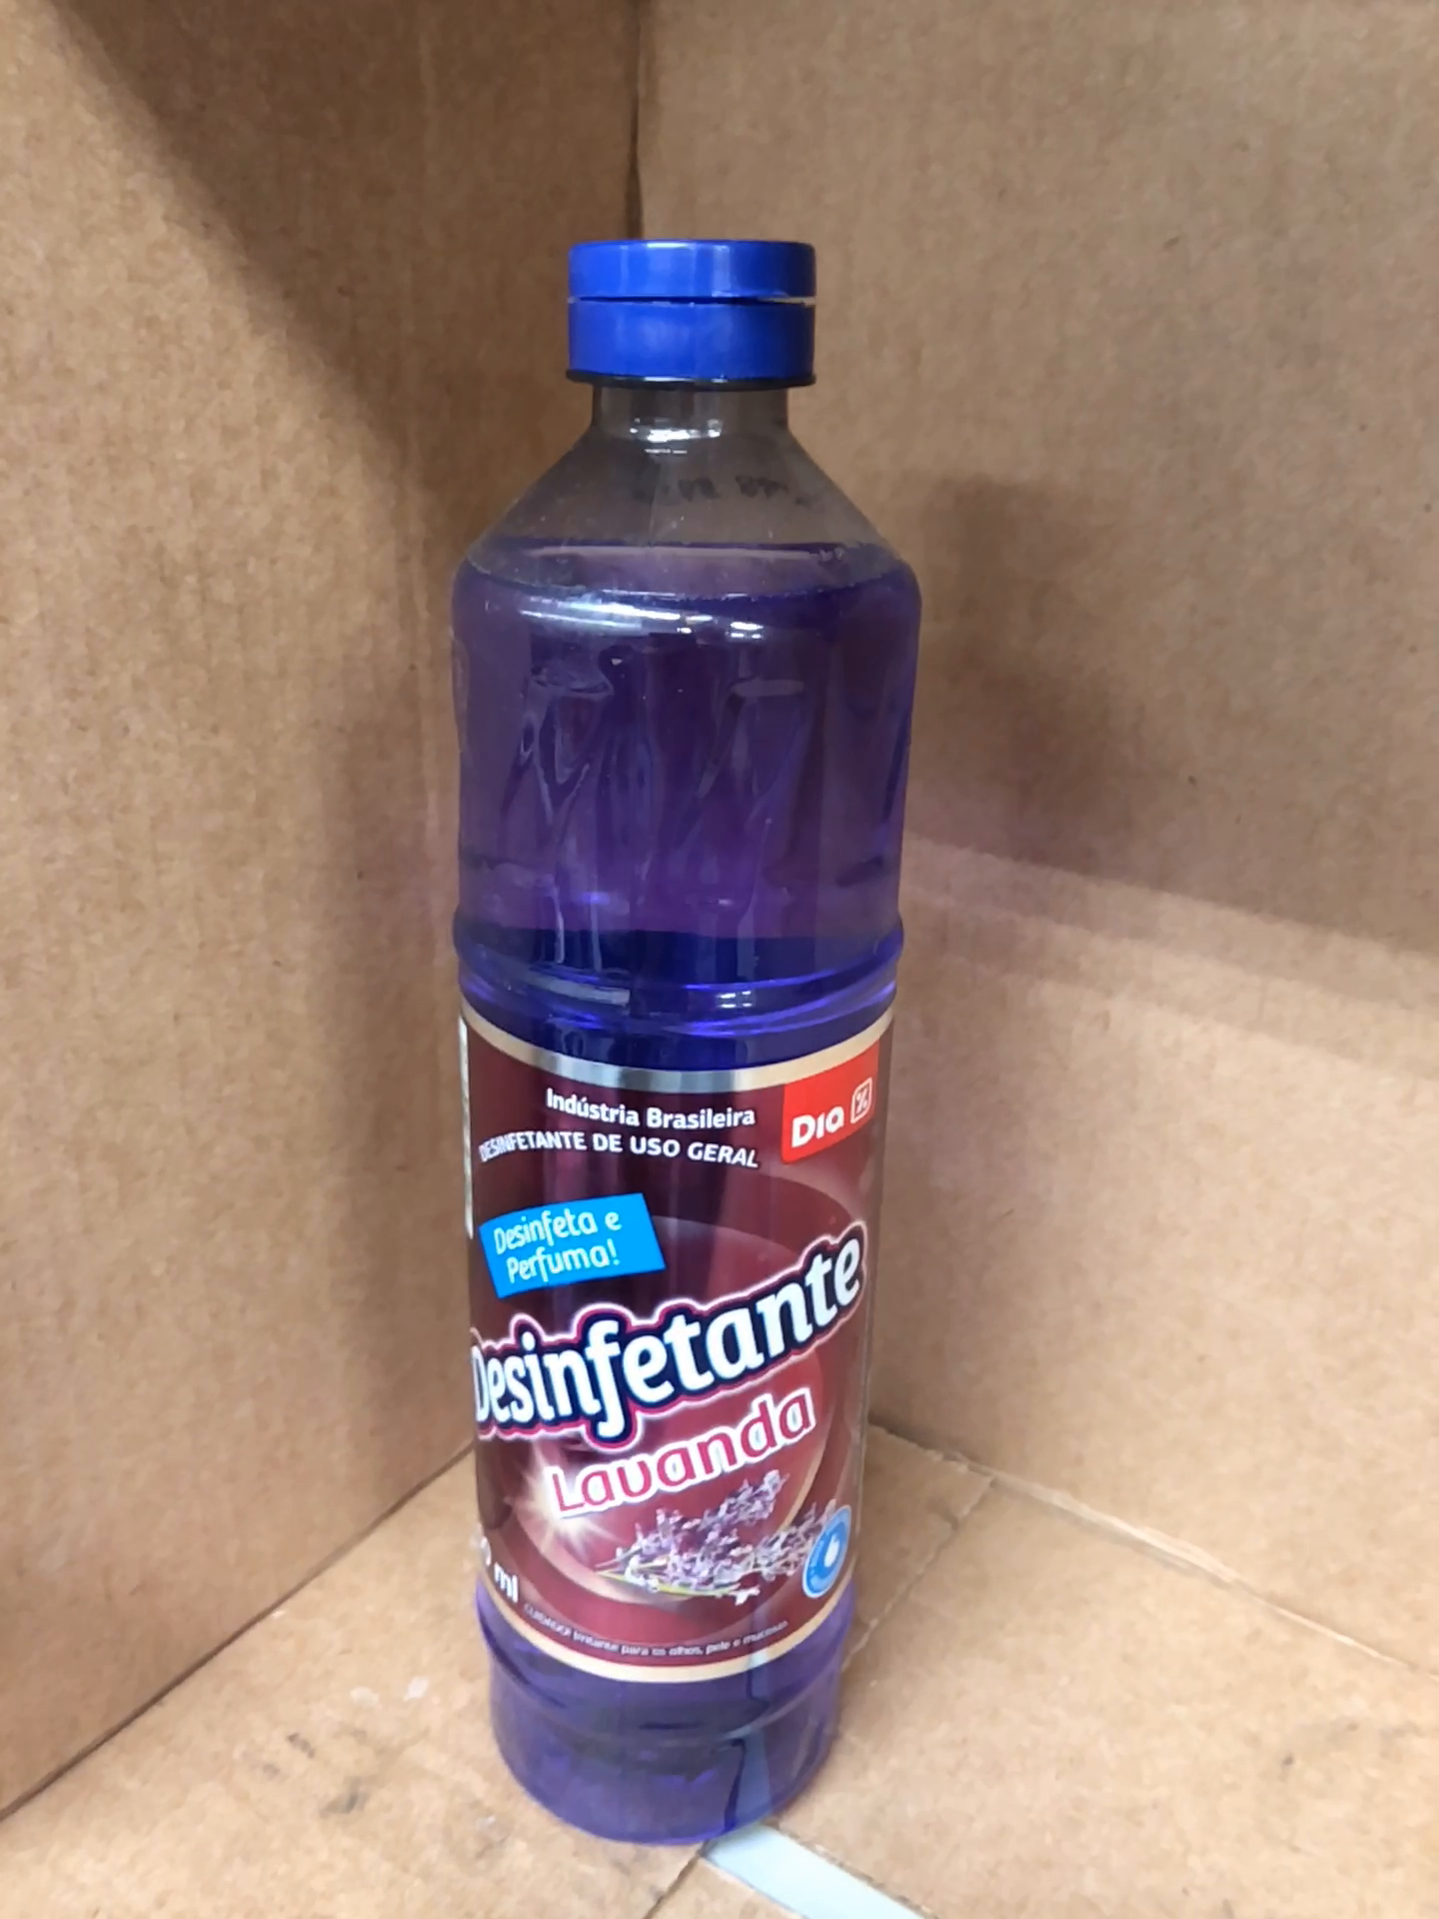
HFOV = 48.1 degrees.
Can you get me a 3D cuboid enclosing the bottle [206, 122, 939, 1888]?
[{"bbox_3d":[-0.013,0.016,0.232,0.070,0.238,0.070,1,24,0],"label":"bottle"}]
